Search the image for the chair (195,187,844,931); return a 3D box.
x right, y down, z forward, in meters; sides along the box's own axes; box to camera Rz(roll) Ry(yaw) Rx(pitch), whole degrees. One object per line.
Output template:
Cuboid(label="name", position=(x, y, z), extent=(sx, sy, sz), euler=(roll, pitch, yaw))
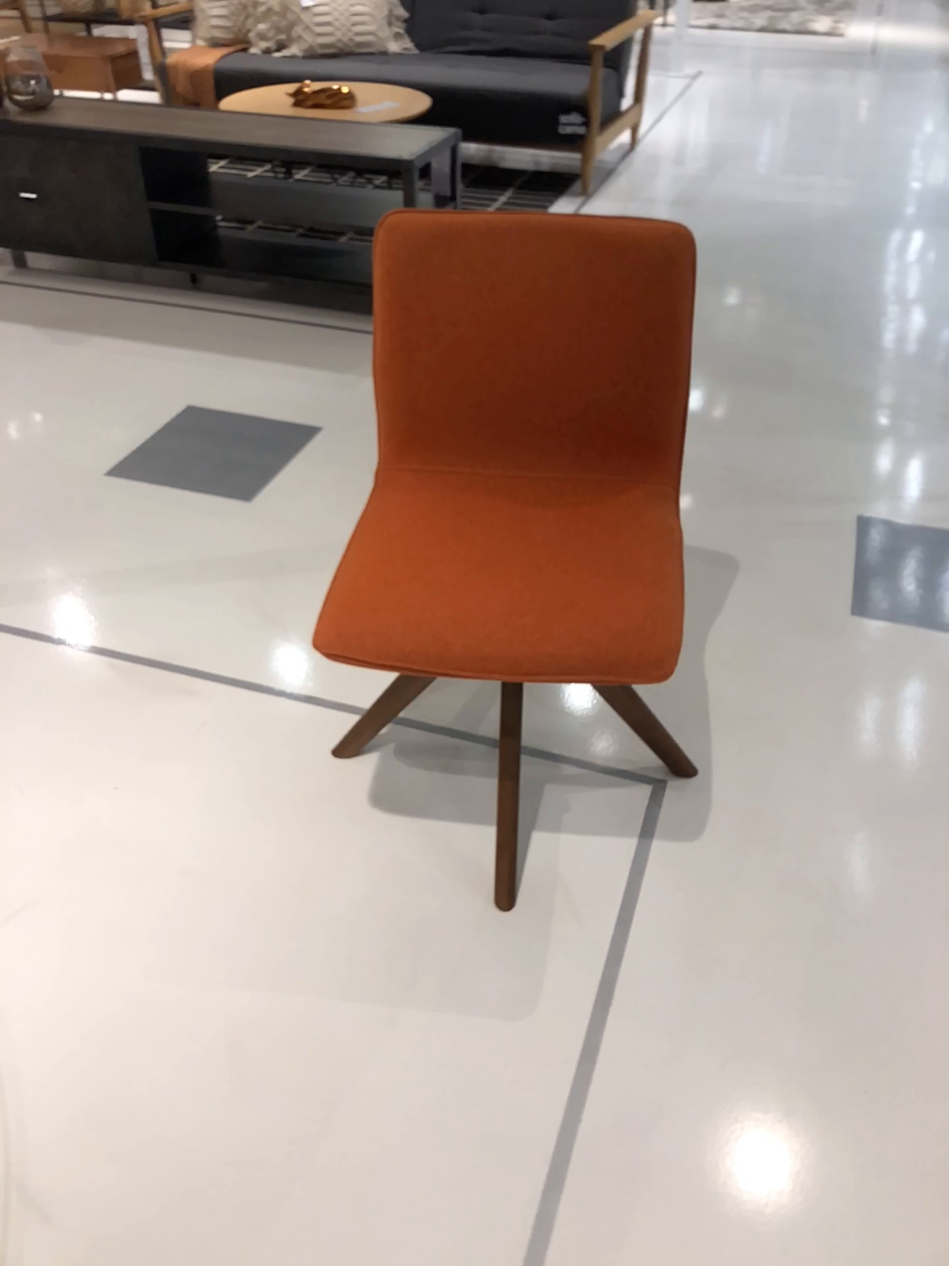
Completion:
Cuboid(label="chair", position=(0.070, -0.115, 1.465), extent=(0.610, 0.794, 0.615), euler=(4, 37, 5))
